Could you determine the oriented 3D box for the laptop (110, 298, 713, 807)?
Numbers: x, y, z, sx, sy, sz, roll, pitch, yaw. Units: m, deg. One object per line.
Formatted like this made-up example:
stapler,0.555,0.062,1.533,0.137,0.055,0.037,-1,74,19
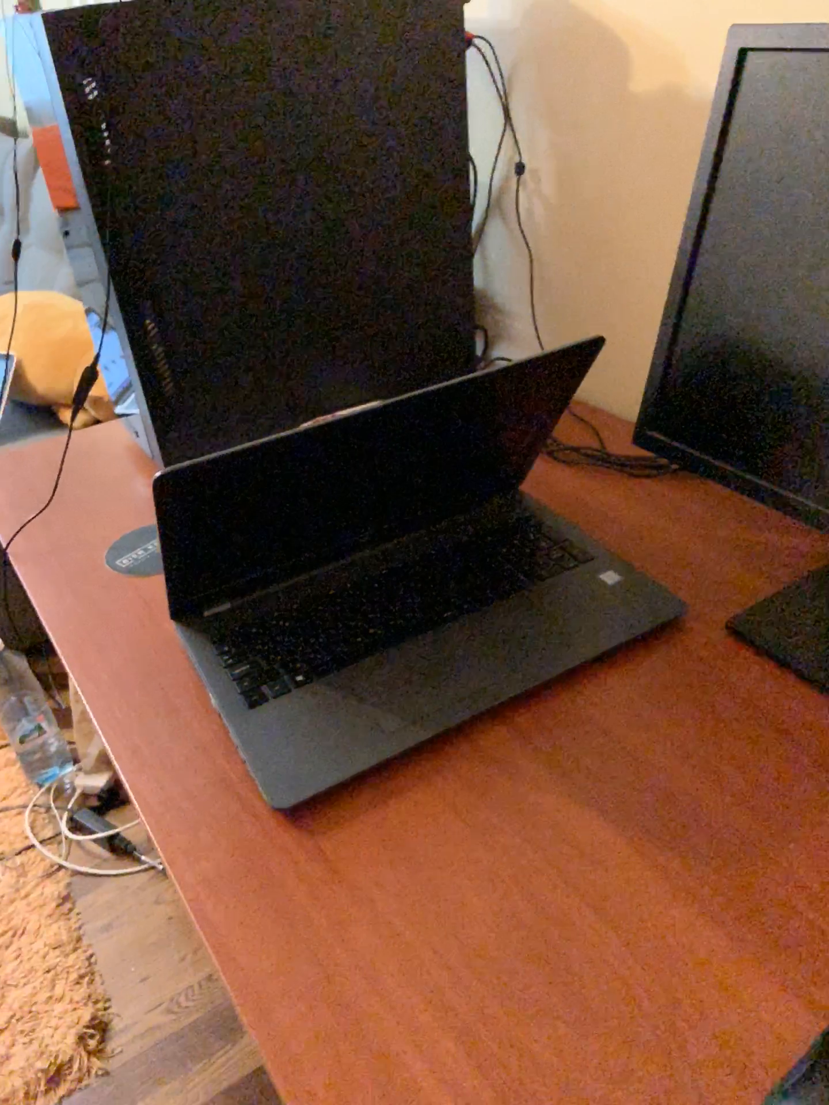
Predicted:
laptop,-0.002,-0.032,0.681,0.374,0.207,0.250,-21,36,-22
